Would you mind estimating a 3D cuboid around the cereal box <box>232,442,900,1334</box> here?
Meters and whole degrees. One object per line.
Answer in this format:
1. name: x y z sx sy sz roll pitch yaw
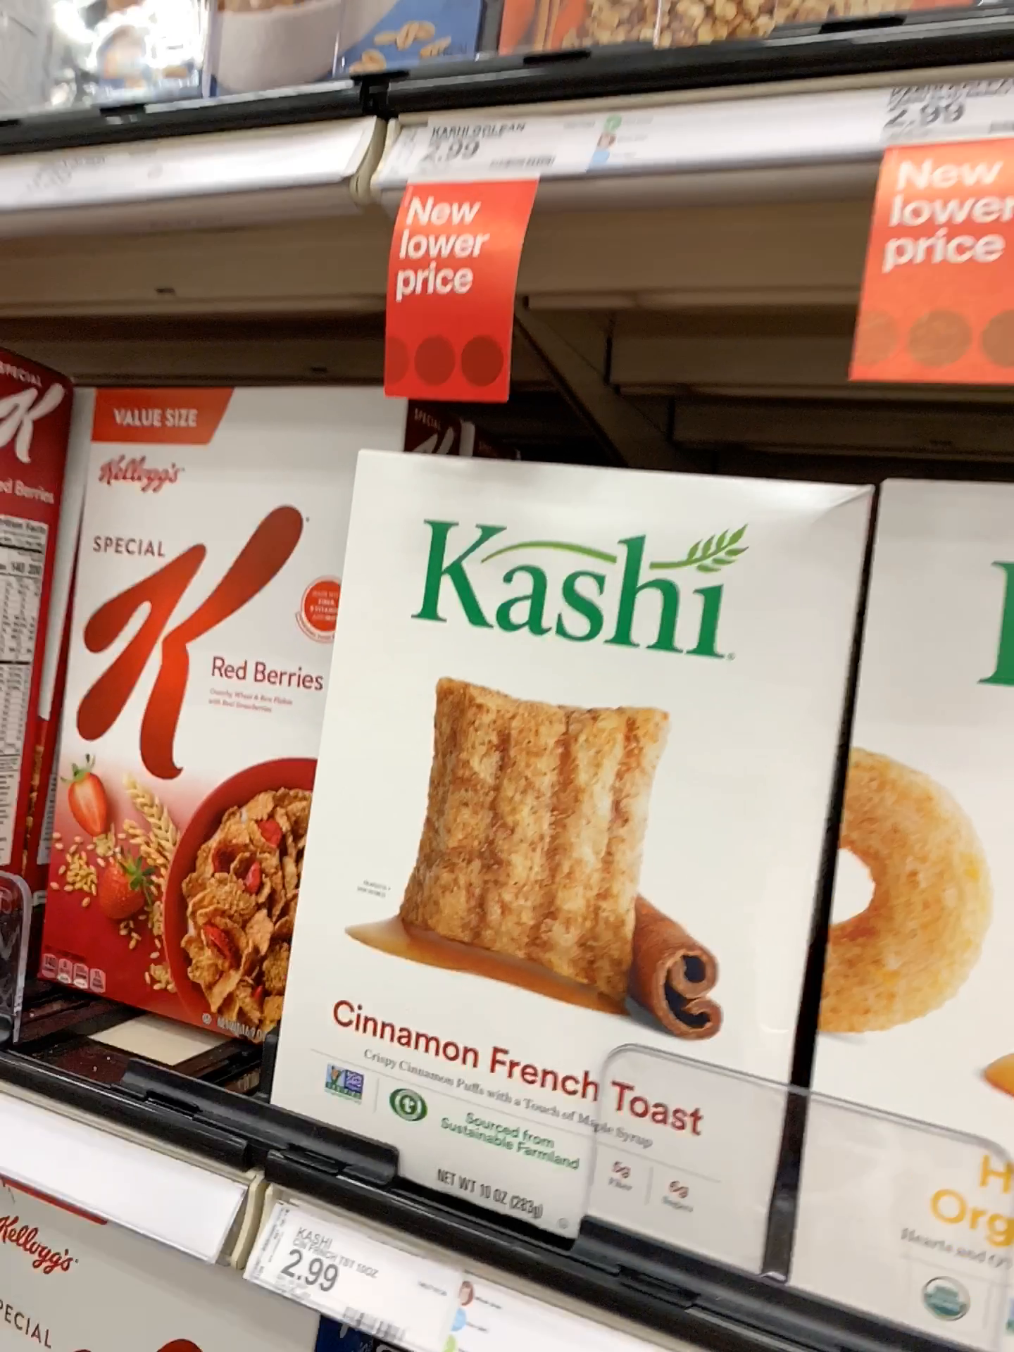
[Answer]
1. cereal box: 0.017 0.057 0.394 0.210 0.270 0.060 8 0 24
